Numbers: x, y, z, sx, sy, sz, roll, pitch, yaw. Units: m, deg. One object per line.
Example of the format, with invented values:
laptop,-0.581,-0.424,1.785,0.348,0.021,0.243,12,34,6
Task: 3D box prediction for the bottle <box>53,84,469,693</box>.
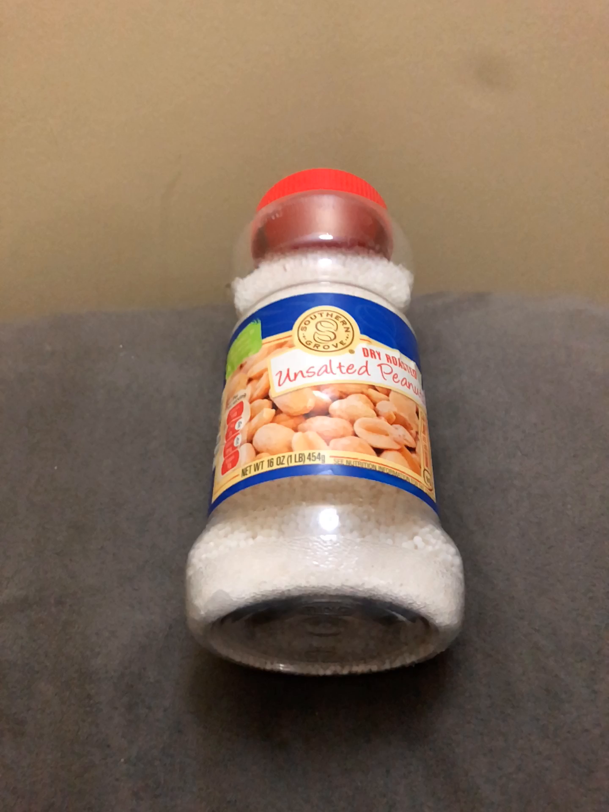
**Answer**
bottle,-0.001,-0.020,0.257,0.095,0.090,0.220,-4,49,8
